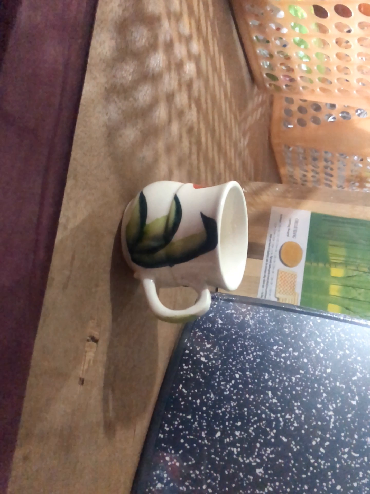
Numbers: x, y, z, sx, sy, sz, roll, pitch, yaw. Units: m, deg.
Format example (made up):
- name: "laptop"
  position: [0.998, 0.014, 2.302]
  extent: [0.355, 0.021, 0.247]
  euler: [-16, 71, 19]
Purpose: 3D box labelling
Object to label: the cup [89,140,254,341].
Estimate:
- name: "cup"
  position: [-0.001, -0.001, 0.227]
  extent: [0.060, 0.060, 0.090]
  euler: [48, 47, -60]
